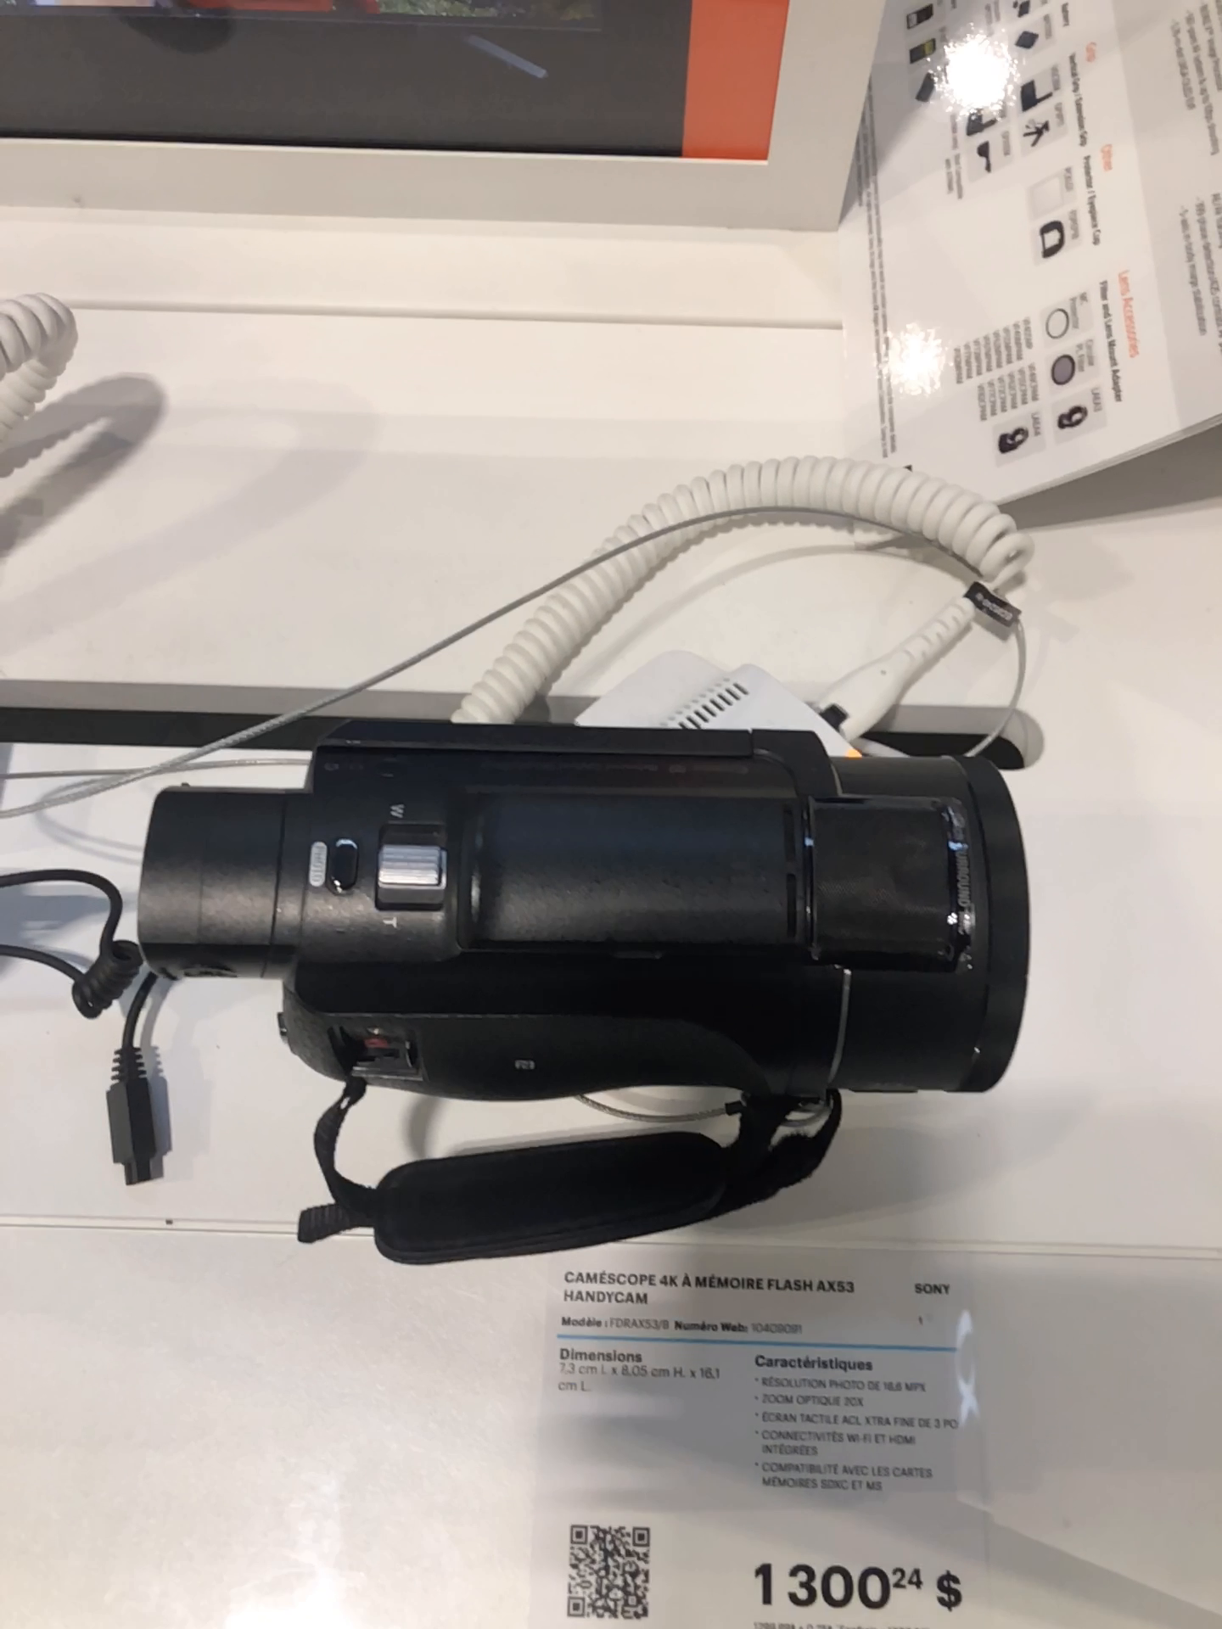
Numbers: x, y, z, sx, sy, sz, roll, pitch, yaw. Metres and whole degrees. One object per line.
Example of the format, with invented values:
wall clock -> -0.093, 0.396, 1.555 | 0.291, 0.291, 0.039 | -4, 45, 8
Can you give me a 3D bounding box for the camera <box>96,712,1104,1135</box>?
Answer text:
camera -> -0.001, 0.024, 0.268 | 0.168, 0.066, 0.061 | 2, 67, 0
